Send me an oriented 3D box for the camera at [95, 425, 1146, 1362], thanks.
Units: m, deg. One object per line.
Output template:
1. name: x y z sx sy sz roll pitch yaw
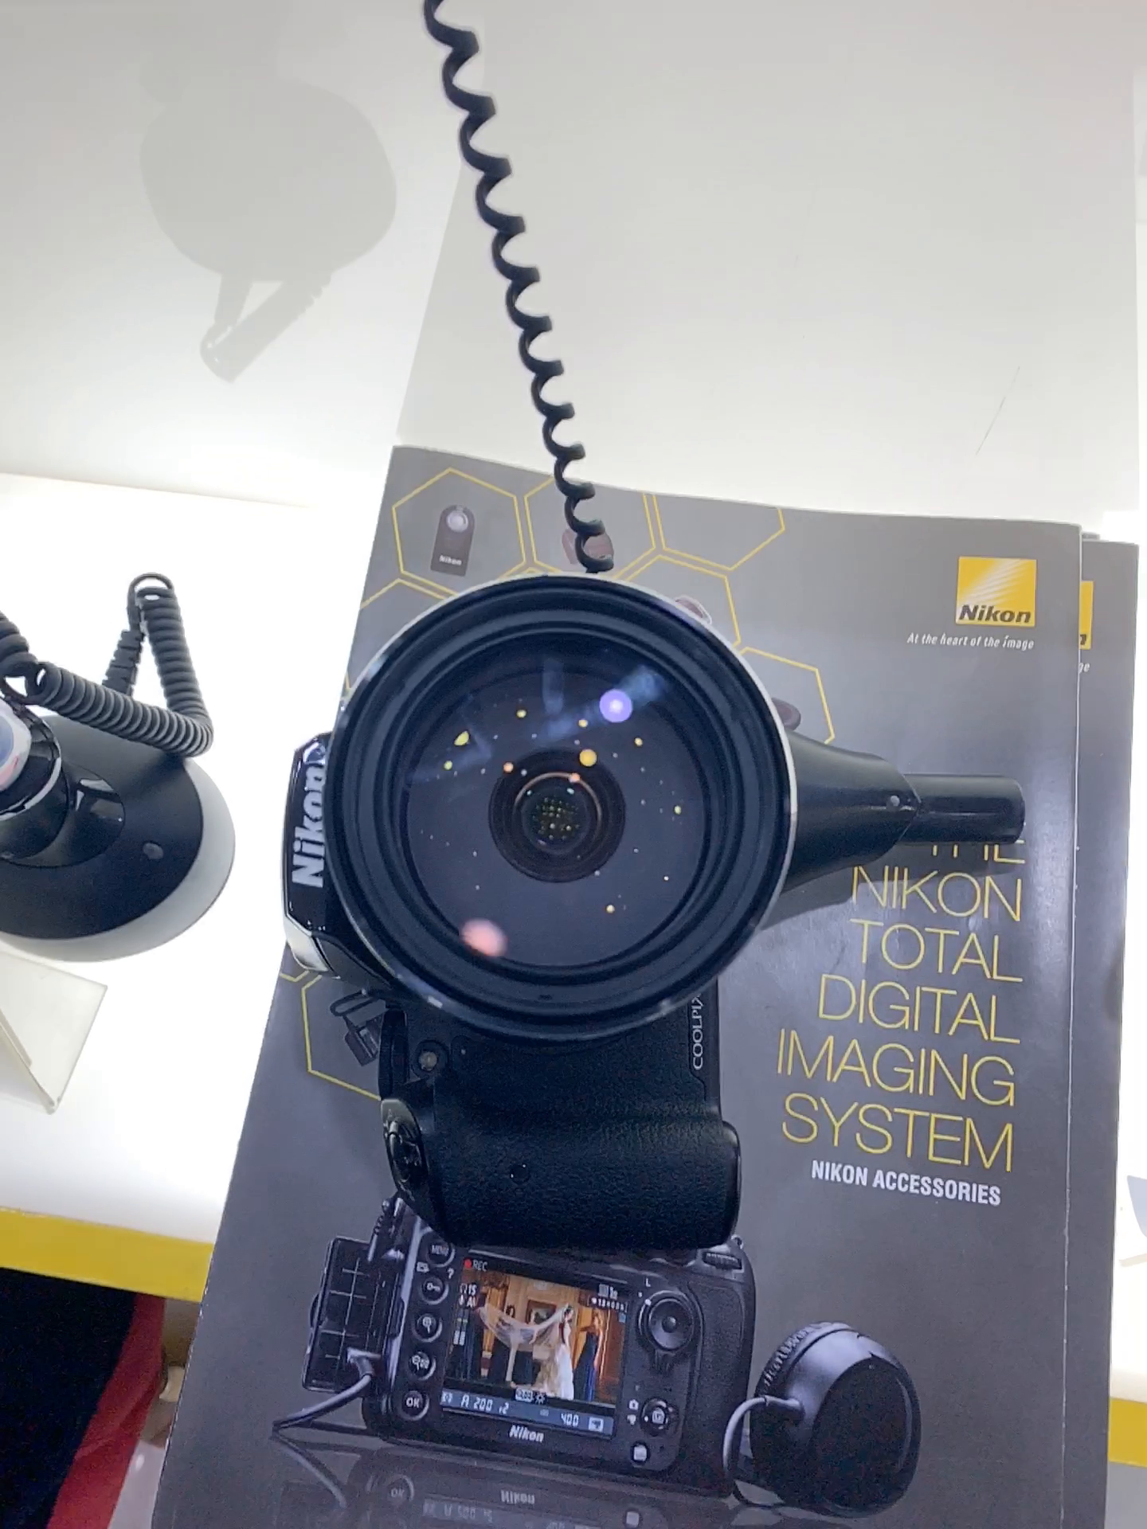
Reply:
1. camera: 0.032 0.030 0.232 0.200 0.100 0.140 2 71 -6
